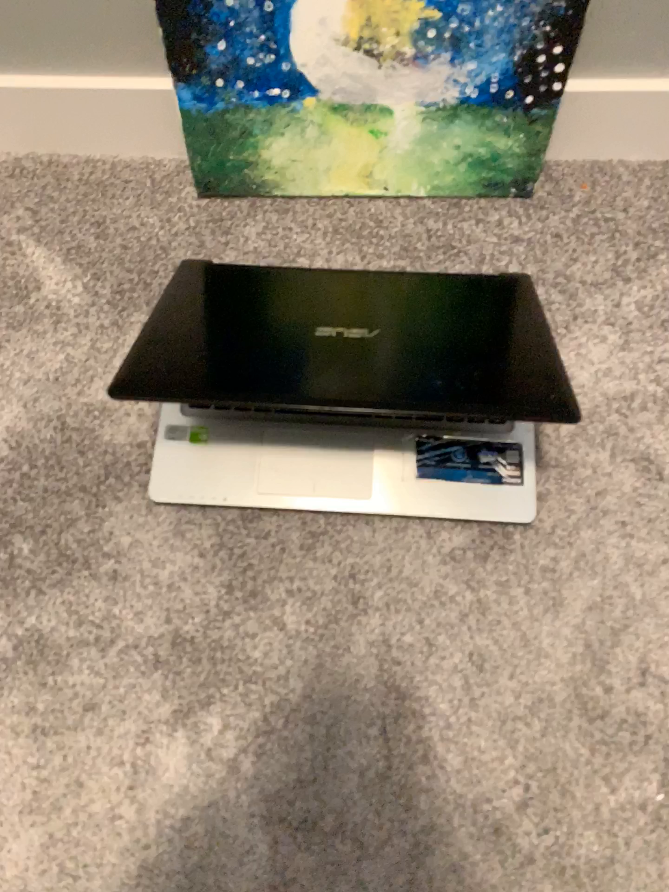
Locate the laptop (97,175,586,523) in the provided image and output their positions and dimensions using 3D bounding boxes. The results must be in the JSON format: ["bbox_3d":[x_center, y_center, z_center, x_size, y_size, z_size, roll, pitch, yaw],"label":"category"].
[{"bbox_3d":[0.010,-0.081,0.592,0.354,0.134,0.253,3,72,2],"label":"laptop"}]
